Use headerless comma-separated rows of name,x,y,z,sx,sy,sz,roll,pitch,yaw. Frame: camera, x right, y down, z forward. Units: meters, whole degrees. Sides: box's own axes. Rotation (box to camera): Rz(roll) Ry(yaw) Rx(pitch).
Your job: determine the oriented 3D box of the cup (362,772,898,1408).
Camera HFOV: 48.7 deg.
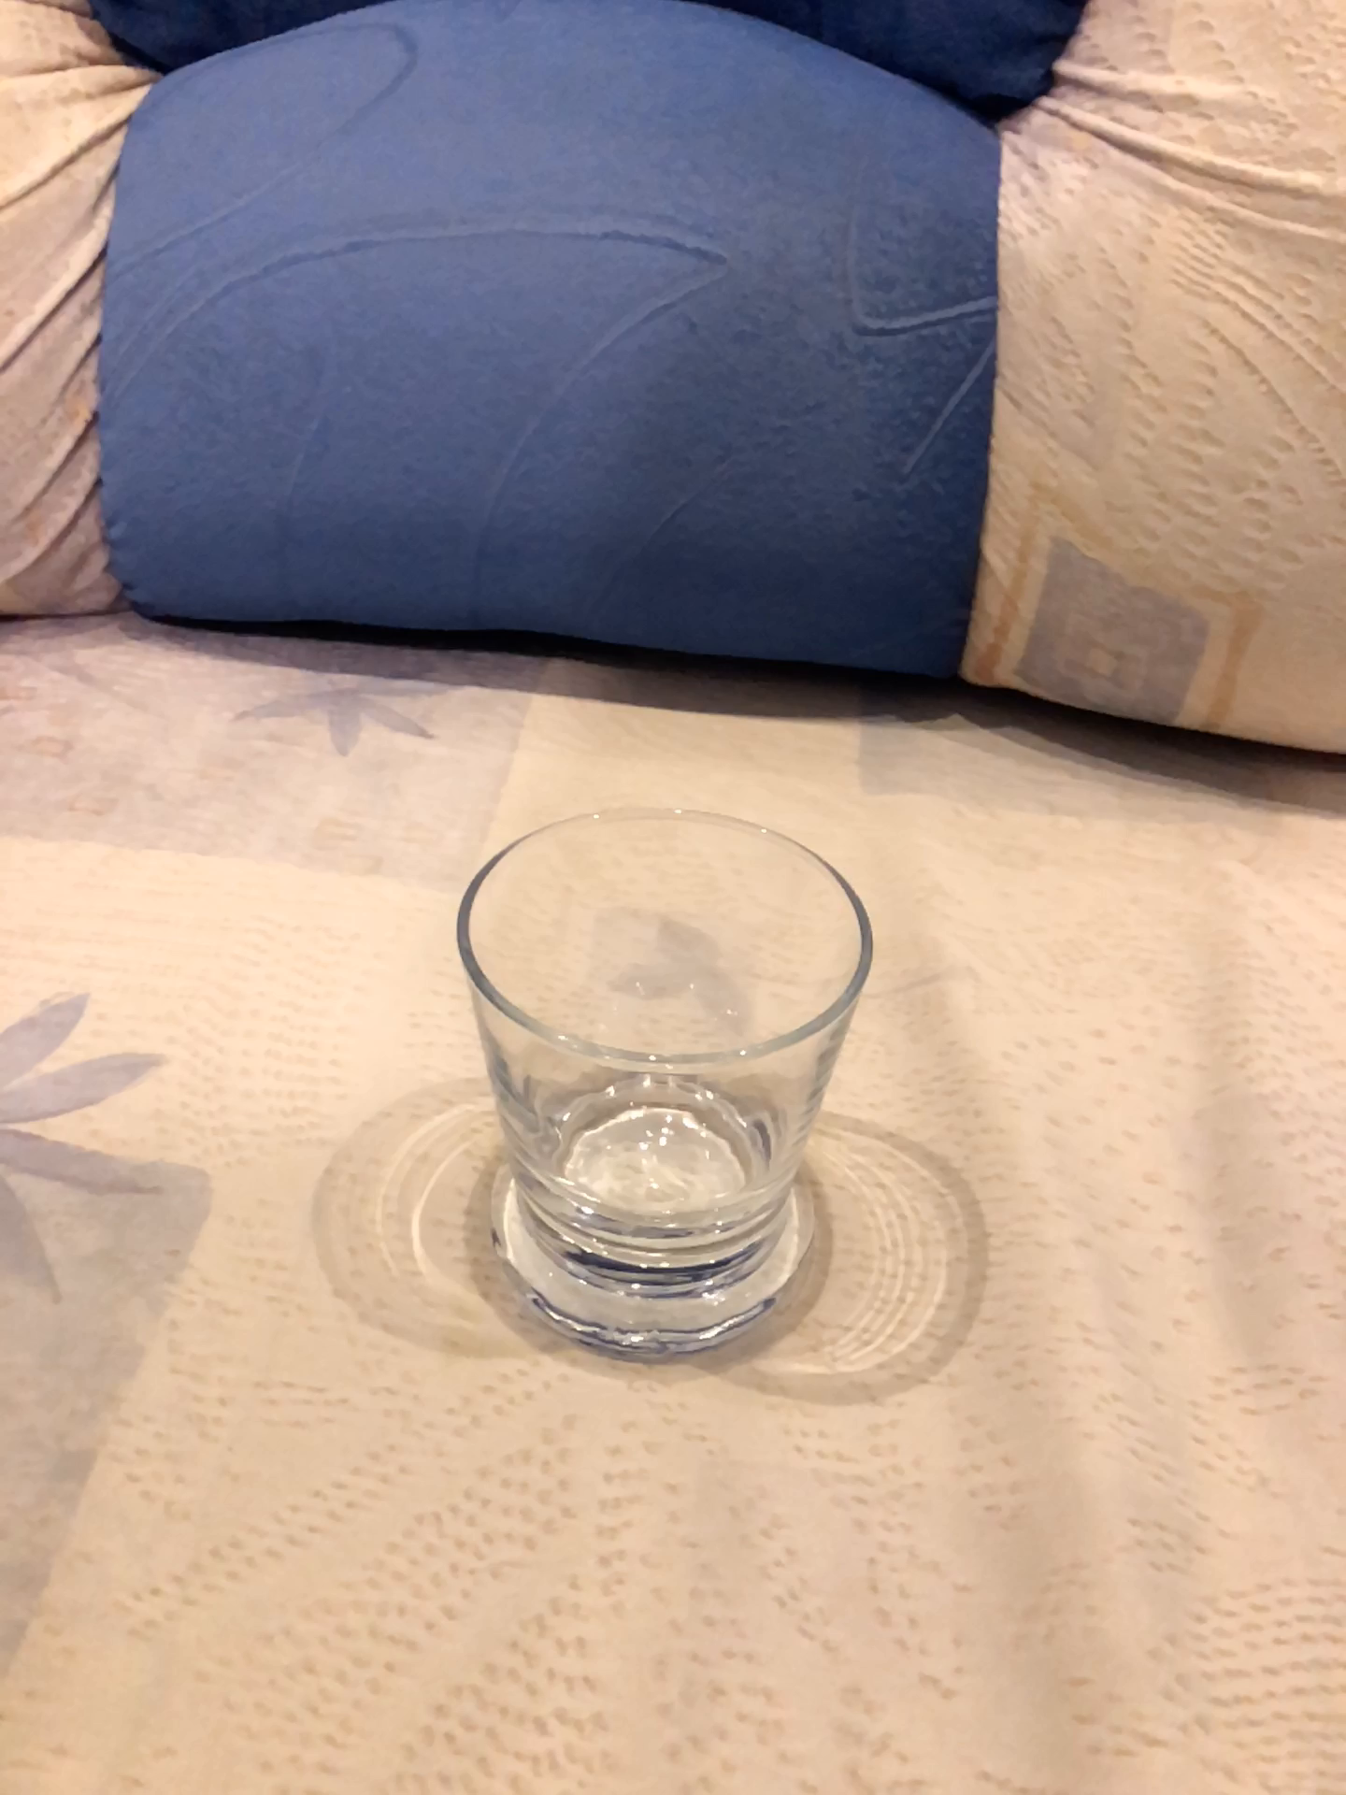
cup,-0.005,0.037,0.315,0.084,0.083,0.087,1,35,-1
